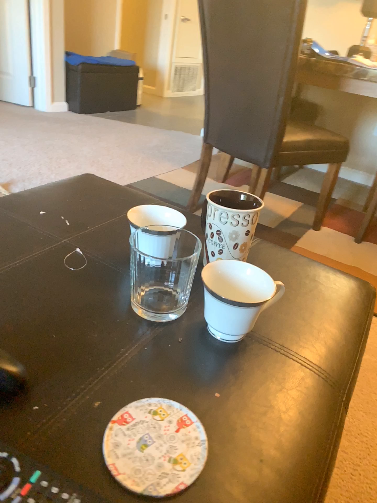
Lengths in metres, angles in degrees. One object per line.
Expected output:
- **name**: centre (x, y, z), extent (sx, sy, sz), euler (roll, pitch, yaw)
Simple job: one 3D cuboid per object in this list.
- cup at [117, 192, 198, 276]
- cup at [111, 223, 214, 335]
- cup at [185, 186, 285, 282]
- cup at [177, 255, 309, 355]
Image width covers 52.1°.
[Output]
- **cup**: centre (-0.045, -0.031, 0.595), extent (0.090, 0.070, 0.111), euler (14, 30, 8)
- **cup**: centre (-0.041, 0.032, 0.512), extent (0.100, 0.099, 0.101), euler (7, 29, -4)
- **cup**: centre (0.066, -0.031, 0.599), extent (0.100, 0.109, 0.101), euler (7, 29, -4)
- **cup**: centre (0.063, 0.061, 0.479), extent (0.120, 0.060, 0.101), euler (-4, 32, -23)
